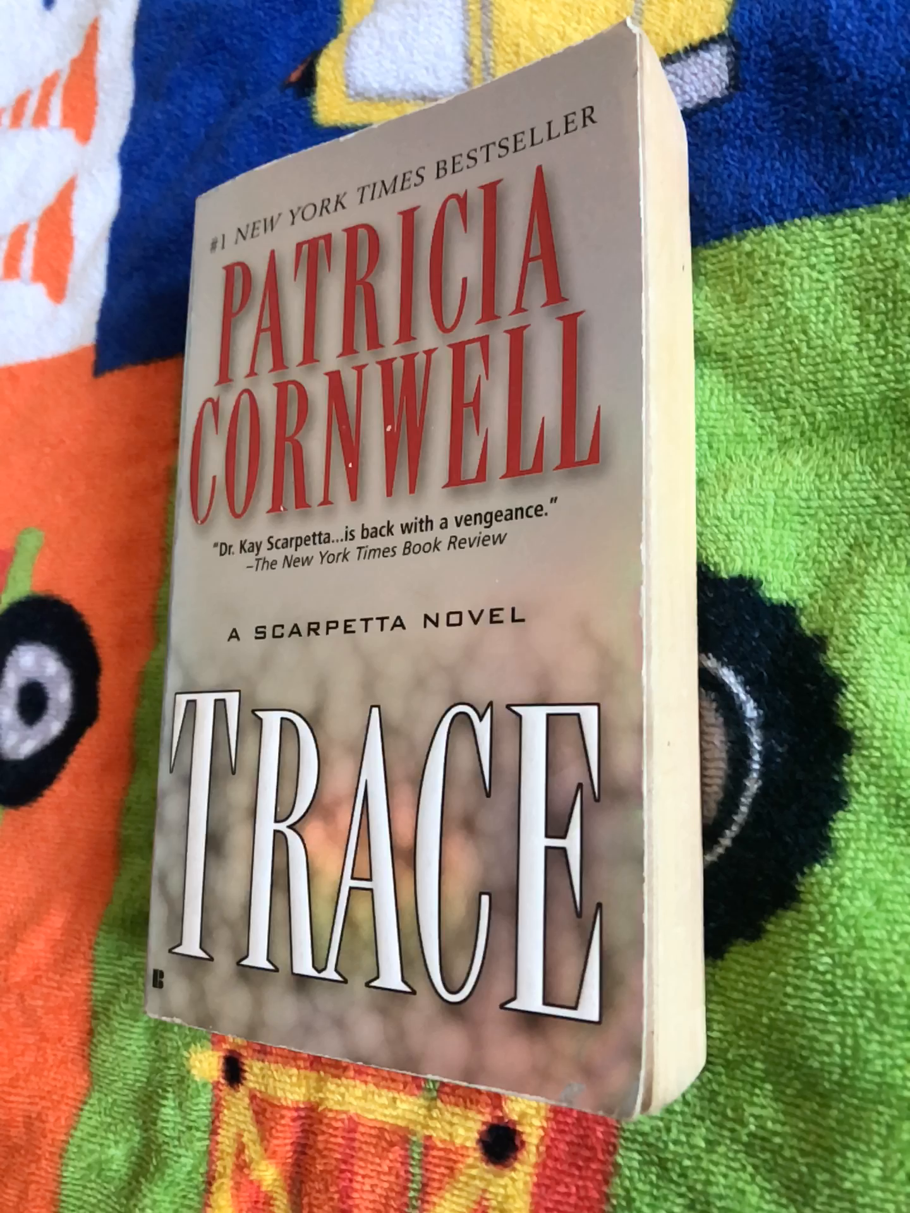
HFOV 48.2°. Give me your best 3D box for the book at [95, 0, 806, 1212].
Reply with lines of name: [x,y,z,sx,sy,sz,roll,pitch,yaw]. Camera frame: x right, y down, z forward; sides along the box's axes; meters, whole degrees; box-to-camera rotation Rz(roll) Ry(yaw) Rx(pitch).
book: [-0.003,-0.006,0.190,0.120,0.040,0.180,-4,79,33]
